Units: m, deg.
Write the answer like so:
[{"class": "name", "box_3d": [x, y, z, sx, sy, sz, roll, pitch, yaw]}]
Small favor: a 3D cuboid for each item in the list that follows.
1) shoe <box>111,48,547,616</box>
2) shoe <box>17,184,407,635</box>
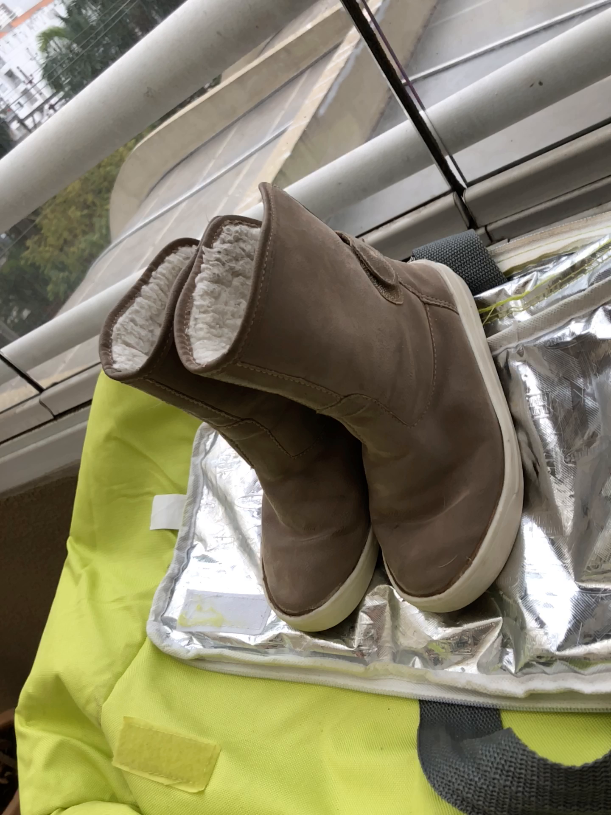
[{"class": "shoe", "box_3d": [0.016, -0.015, 0.313, 0.089, 0.169, 0.201, -20, 62, 38]}, {"class": "shoe", "box_3d": [-0.037, 0.018, 0.362, 0.089, 0.169, 0.191, -19, 63, 40]}]
